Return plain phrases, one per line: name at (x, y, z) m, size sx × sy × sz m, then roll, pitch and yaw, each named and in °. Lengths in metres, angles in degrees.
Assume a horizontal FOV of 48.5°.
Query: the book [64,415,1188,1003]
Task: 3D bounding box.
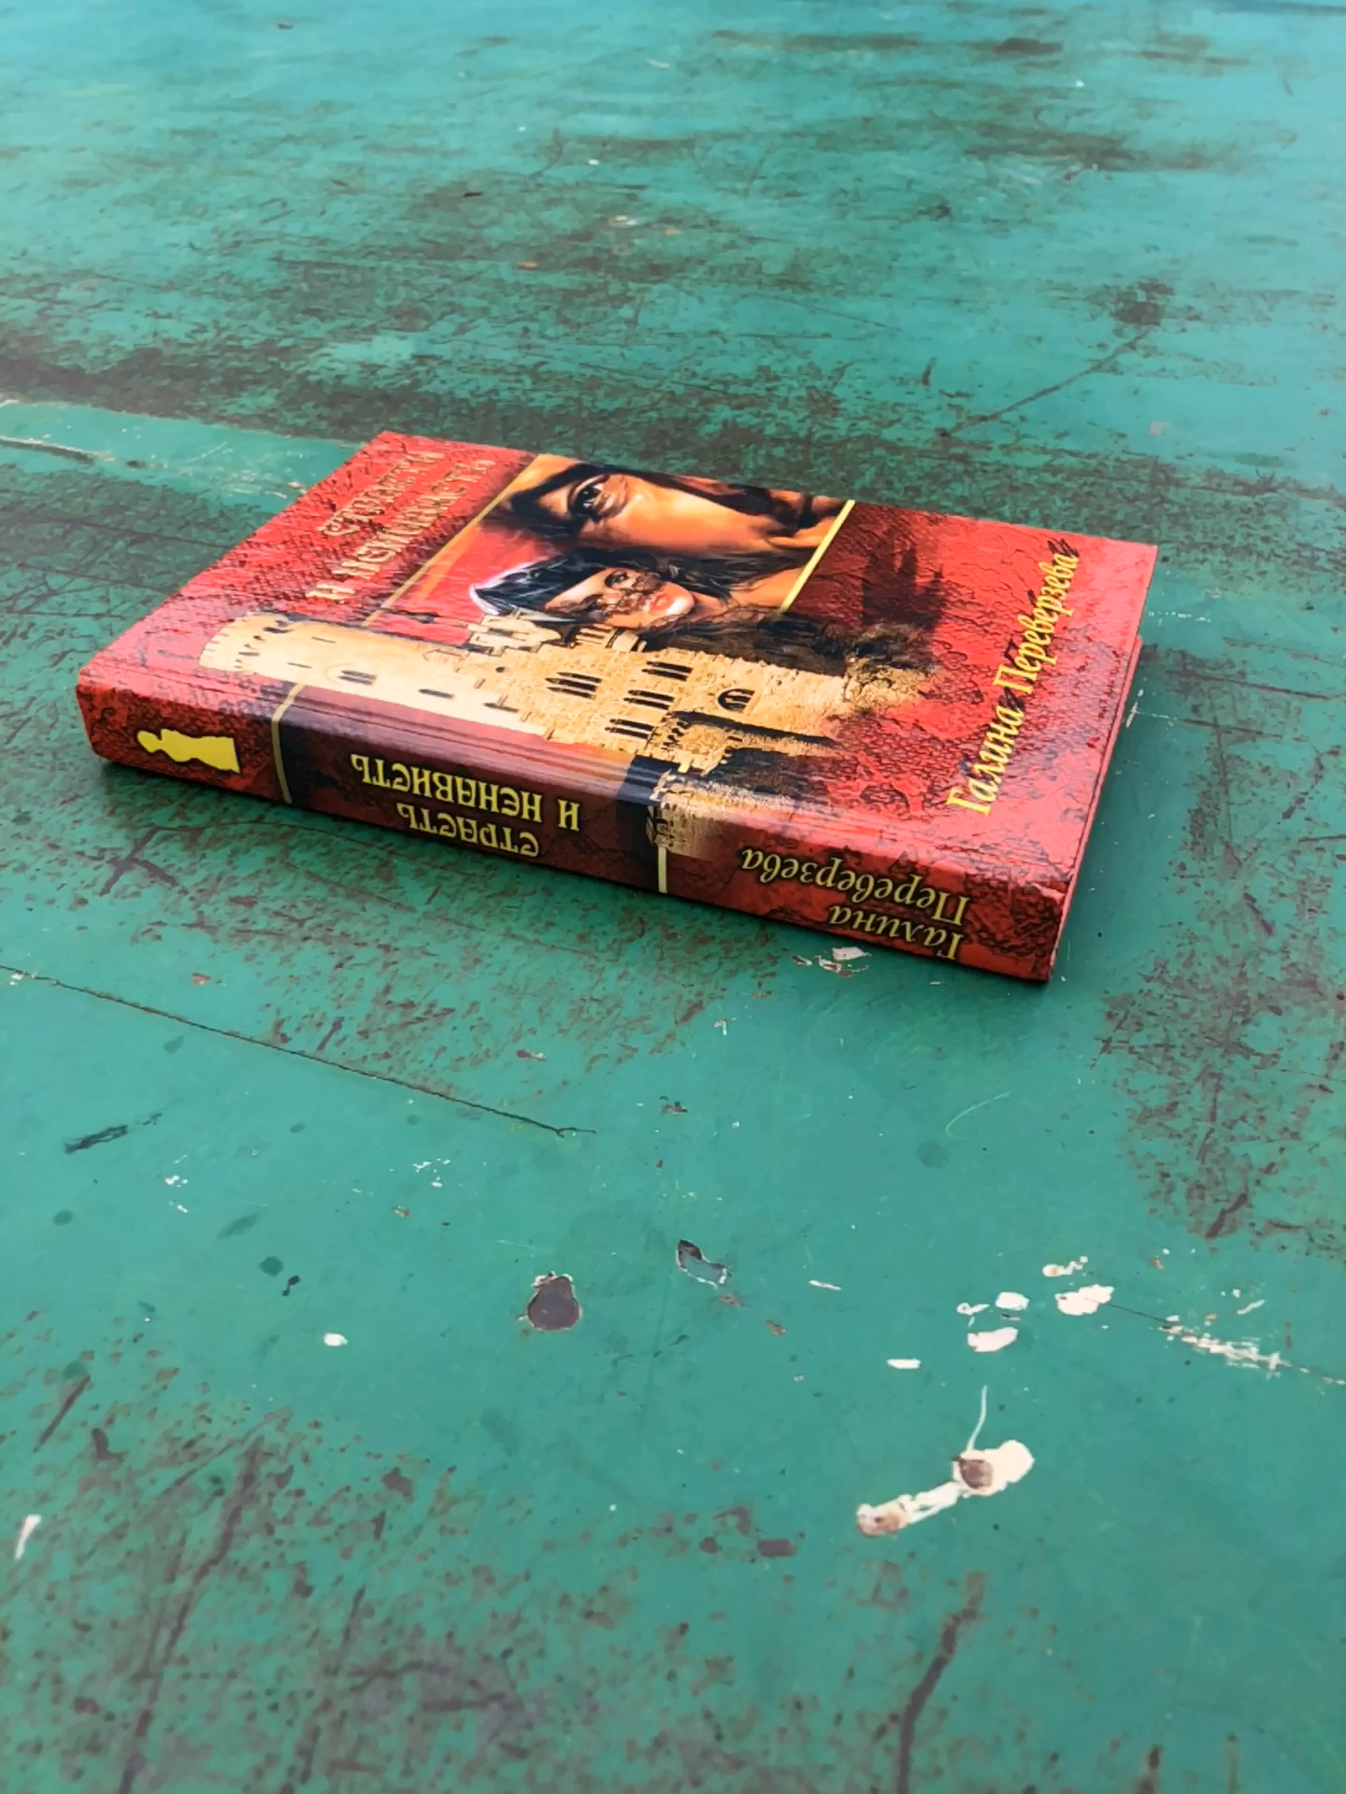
book at (-0.001, -0.057, 0.338) m, size 0.210 × 0.030 × 0.144 m, roll 13°, pitch 40°, yaw 16°
